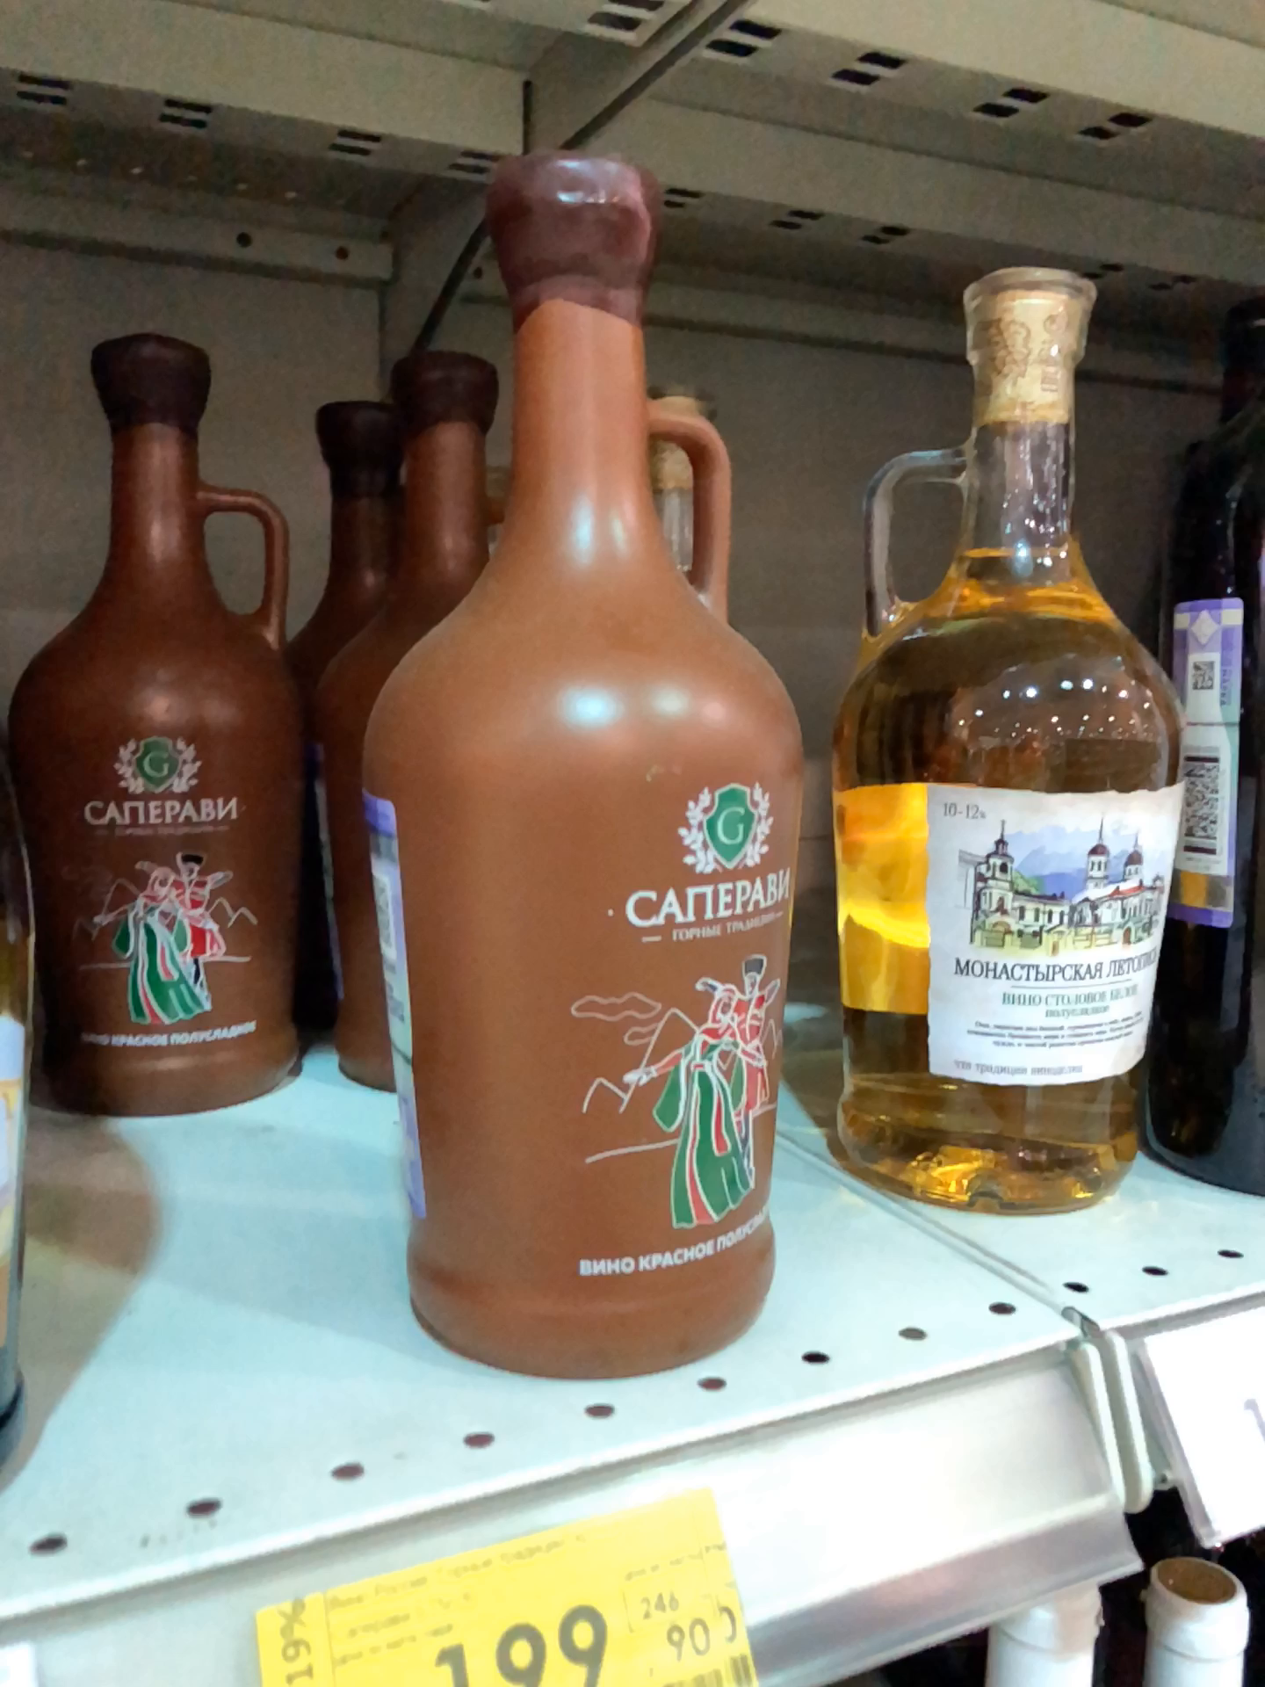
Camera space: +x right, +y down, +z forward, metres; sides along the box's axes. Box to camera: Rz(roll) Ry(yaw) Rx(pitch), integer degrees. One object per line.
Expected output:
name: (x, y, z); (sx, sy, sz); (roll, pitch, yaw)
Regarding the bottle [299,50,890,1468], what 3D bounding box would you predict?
bottle: (-0.010, -0.016, 0.308); (0.090, 0.250, 0.090); (0, 5, 0)
